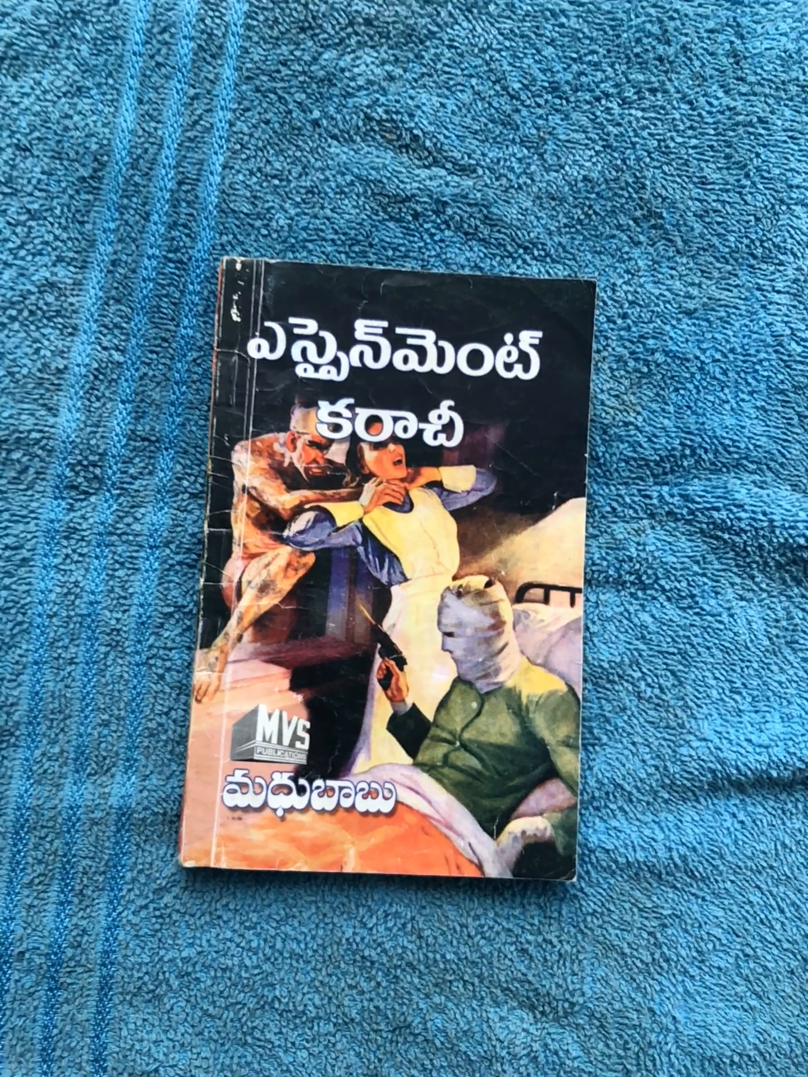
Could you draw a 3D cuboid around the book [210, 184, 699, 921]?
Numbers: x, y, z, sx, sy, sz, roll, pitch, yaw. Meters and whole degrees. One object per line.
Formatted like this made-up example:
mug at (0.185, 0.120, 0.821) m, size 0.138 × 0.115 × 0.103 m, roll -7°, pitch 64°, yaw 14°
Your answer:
book at (0.014, 0.003, 0.225) m, size 0.110 × 0.020 × 0.170 m, roll 3°, pitch 86°, yaw -4°
